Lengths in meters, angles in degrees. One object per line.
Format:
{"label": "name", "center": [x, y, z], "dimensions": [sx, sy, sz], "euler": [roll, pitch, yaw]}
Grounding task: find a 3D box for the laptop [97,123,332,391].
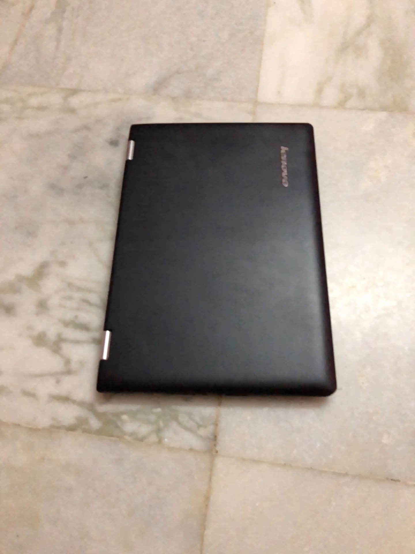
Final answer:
{"label": "laptop", "center": [0.011, -0.043, 0.507], "dimensions": [0.222, 0.002, 0.329], "euler": [1, 65, 3]}
